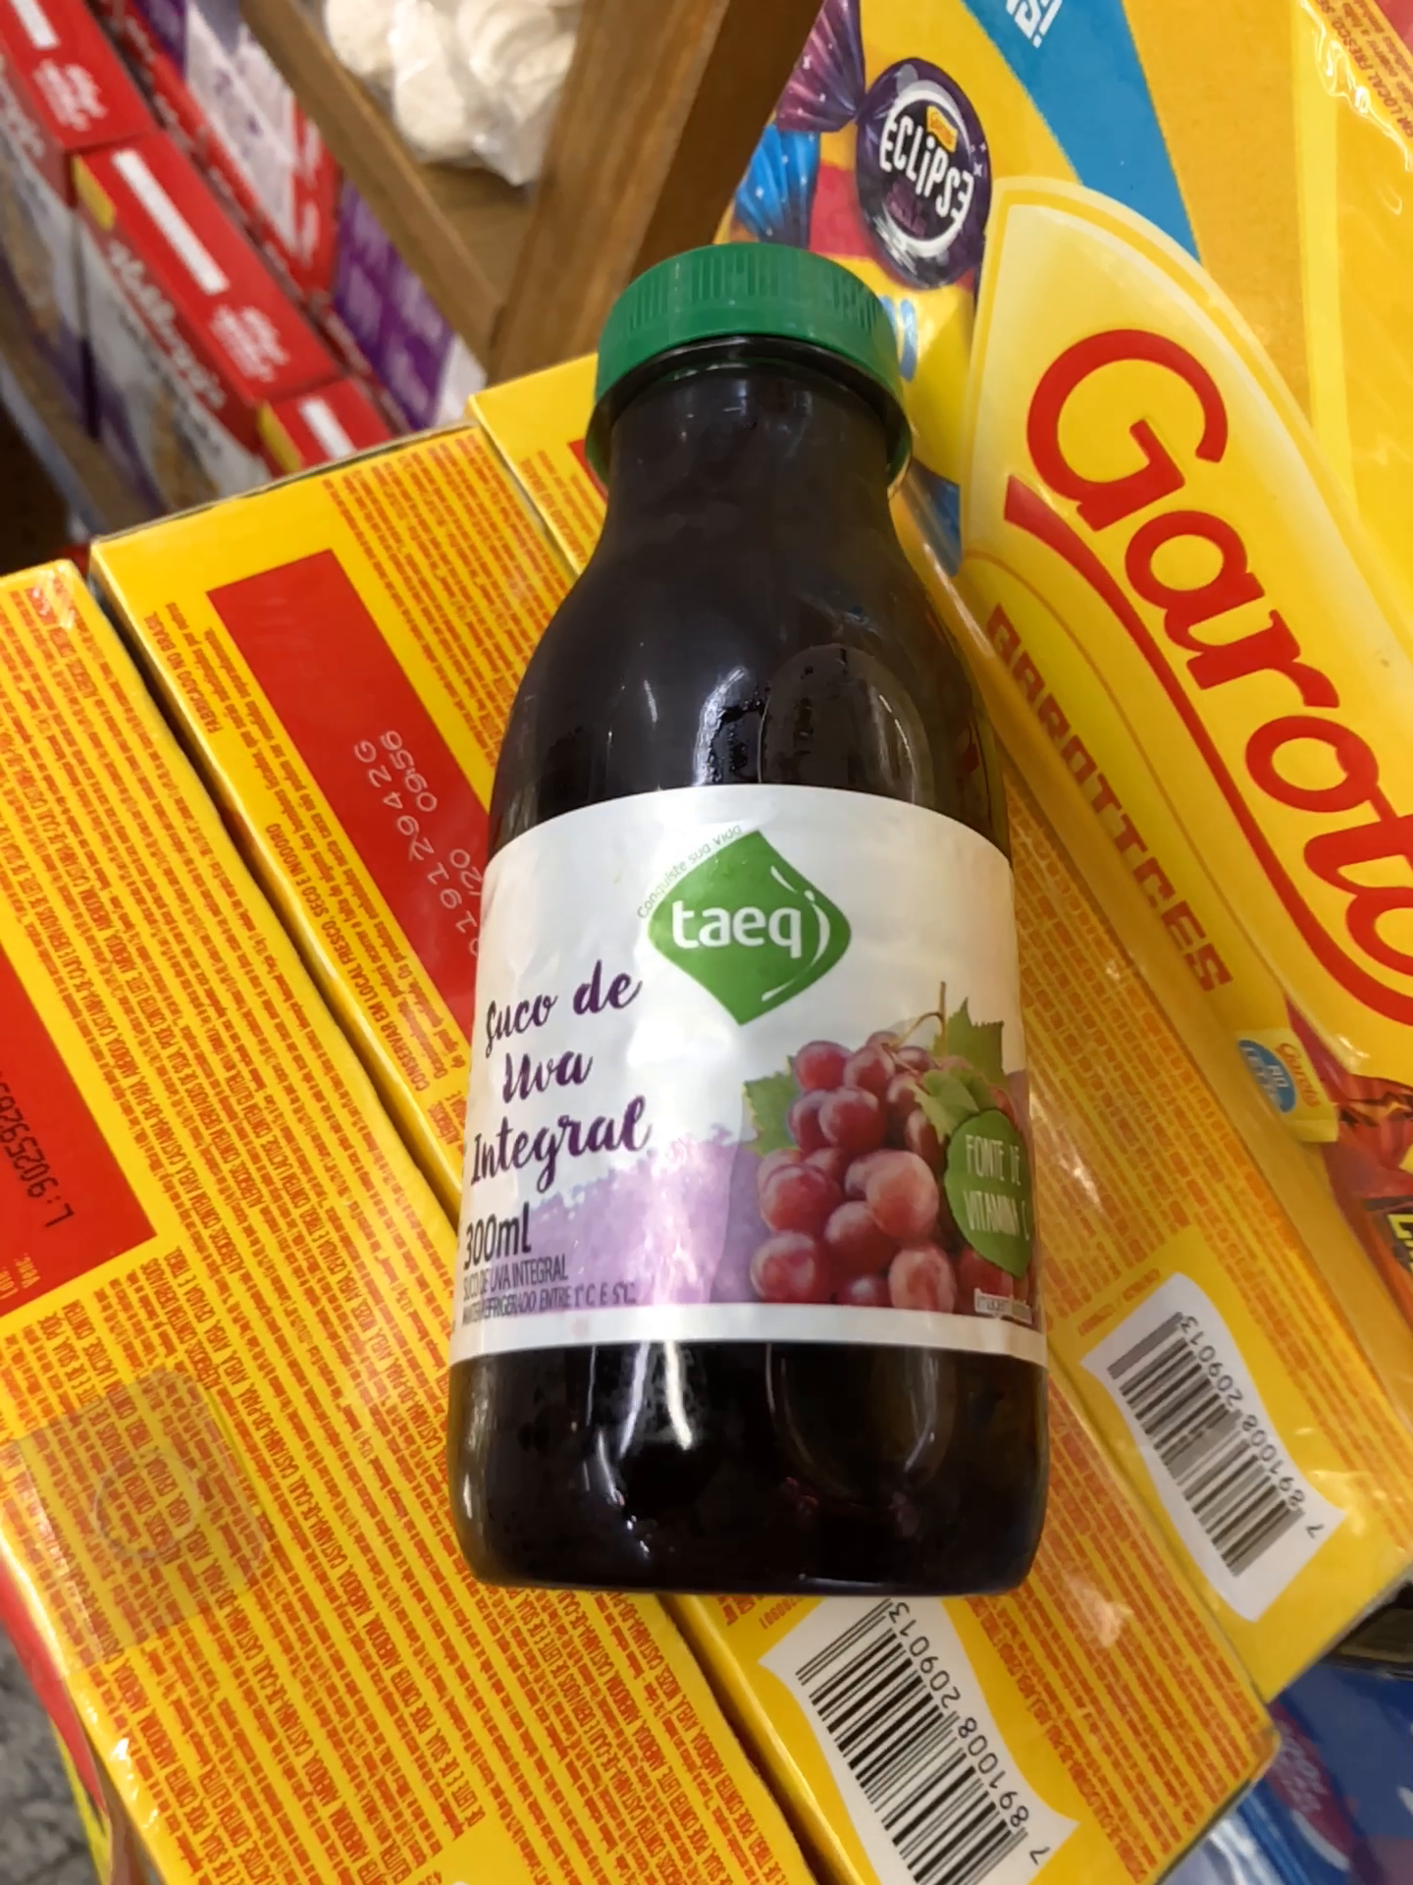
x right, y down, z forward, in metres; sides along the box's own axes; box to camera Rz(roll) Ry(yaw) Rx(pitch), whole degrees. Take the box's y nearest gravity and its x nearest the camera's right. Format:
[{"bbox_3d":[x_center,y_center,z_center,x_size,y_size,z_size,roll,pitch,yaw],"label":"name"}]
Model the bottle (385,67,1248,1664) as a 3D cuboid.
[{"bbox_3d":[0.009,-0.010,0.186,0.070,0.050,0.170,8,67,-17],"label":"bottle"}]
